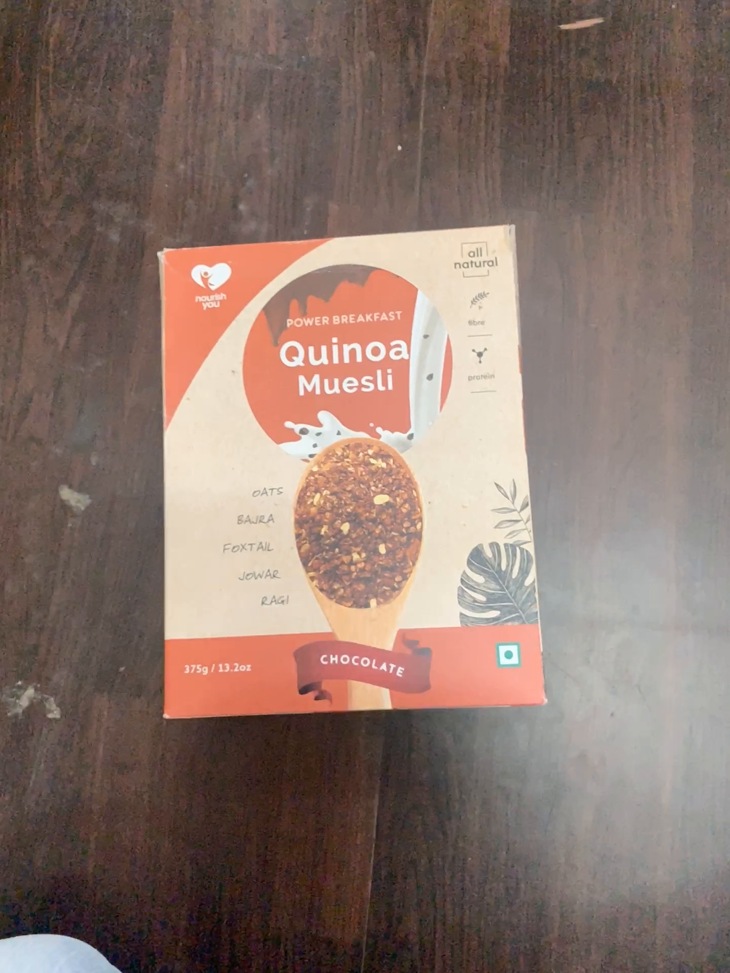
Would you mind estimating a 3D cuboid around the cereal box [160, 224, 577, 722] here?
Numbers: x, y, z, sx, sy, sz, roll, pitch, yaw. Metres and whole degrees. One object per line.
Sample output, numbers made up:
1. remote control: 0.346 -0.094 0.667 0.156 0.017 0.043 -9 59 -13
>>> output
1. cereal box: -0.001 -0.004 0.359 0.170 0.070 0.210 -3 80 4
